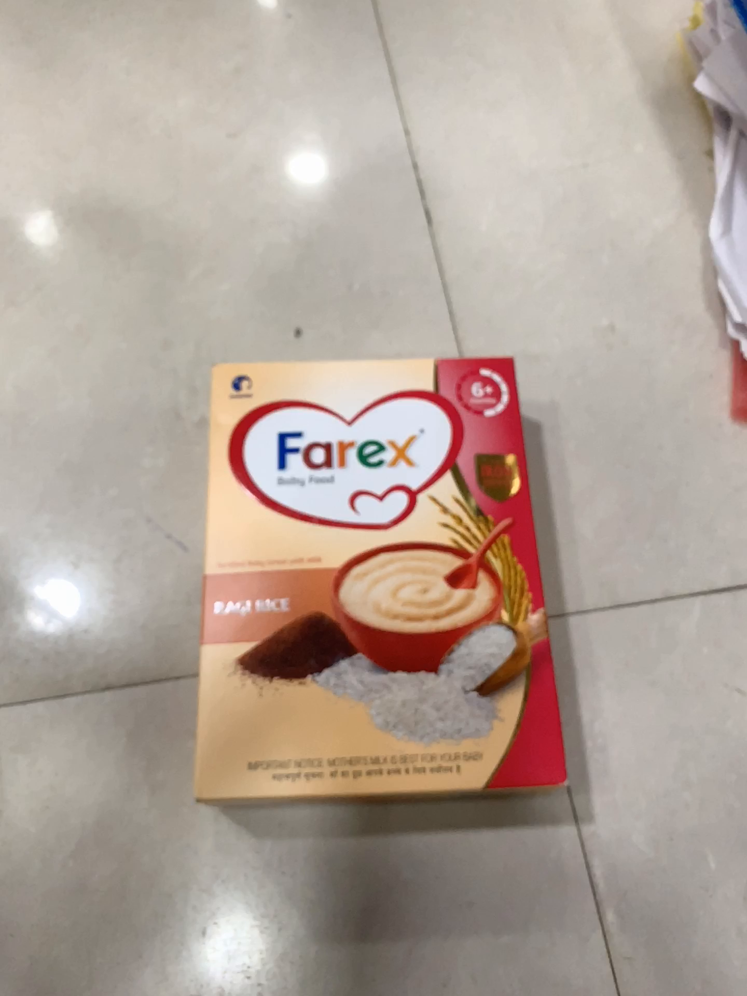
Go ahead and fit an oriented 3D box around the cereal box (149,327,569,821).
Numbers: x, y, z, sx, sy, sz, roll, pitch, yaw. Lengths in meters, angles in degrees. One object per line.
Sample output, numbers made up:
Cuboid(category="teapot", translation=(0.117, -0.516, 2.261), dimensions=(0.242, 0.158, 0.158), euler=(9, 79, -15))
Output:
Cuboid(category="cereal box", translation=(-0.010, 0.027, 0.336), dimensions=(0.150, 0.050, 0.200), euler=(0, 69, -6))
